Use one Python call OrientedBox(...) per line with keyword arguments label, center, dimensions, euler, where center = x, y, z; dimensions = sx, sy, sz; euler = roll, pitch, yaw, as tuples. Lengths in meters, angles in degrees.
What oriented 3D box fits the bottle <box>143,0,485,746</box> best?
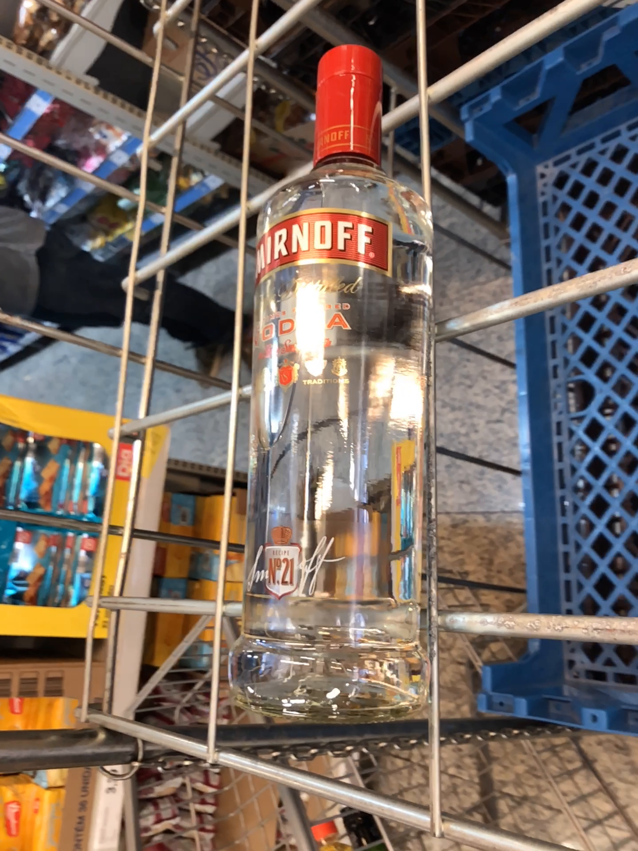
OrientedBox(label="bottle", center=(0.003, -0.036, 0.326), dimensions=(0.101, 0.099, 0.310), euler=(-11, 72, 46))
